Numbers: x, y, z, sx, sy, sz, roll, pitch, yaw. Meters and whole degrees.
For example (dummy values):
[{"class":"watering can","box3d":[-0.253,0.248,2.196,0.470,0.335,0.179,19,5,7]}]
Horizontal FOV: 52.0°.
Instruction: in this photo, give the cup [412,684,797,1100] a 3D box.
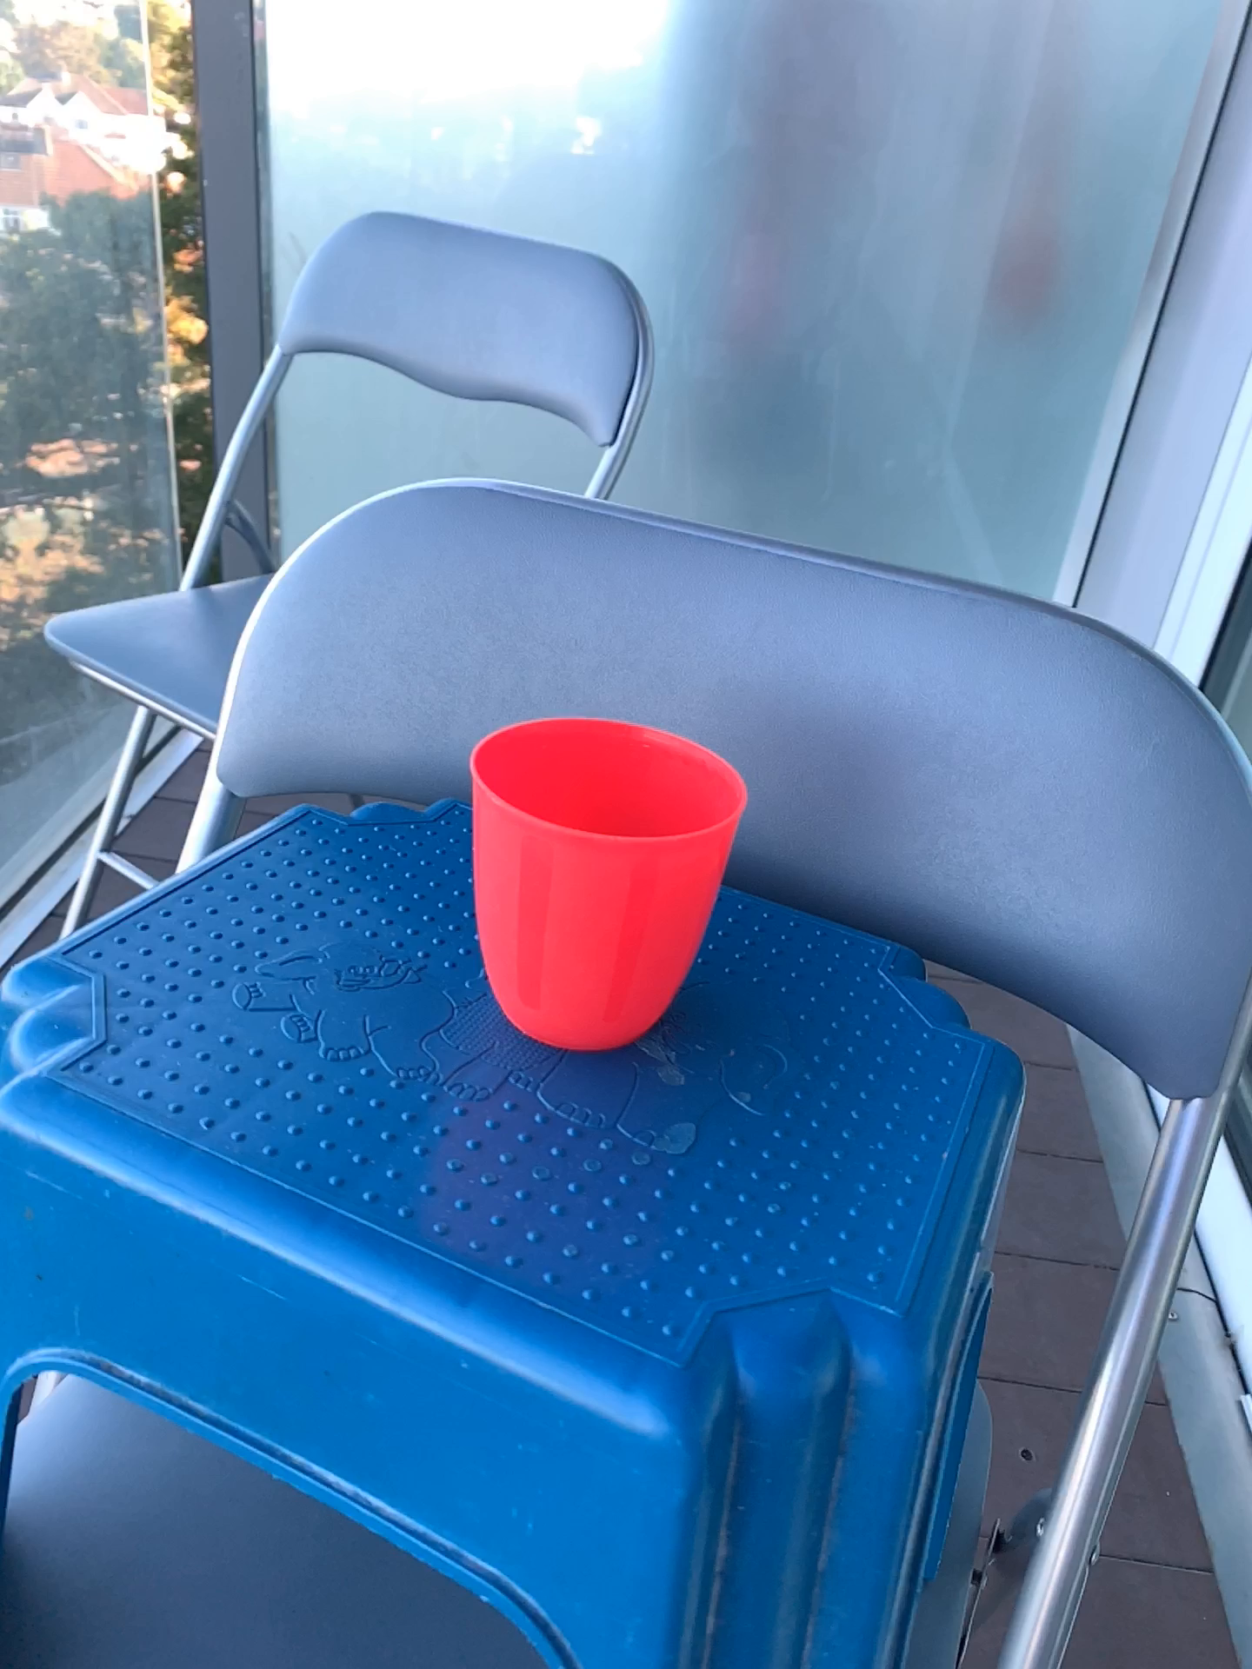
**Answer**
[{"class":"cup","box3d":[-0.007,0.014,0.388,0.086,0.077,0.074,18,33,18]}]
